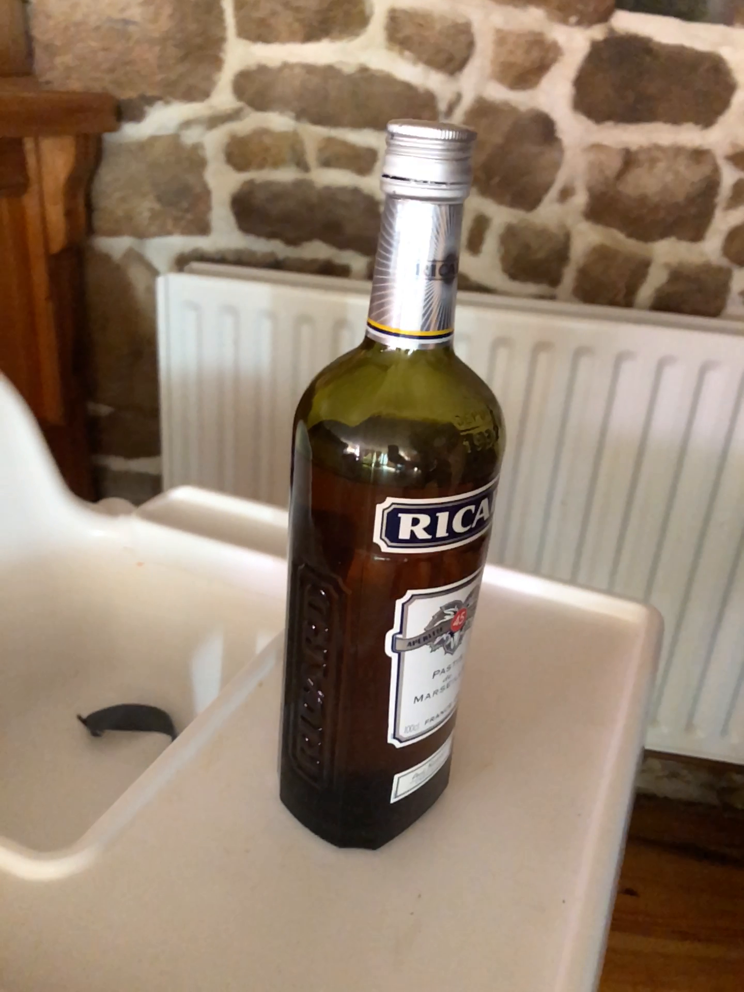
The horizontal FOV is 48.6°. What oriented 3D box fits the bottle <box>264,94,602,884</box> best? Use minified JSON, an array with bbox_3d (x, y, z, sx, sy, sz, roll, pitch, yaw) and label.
[{"bbox_3d":[0.015,0.005,0.338,0.070,0.298,0.091,23,31,35],"label":"bottle"}]
